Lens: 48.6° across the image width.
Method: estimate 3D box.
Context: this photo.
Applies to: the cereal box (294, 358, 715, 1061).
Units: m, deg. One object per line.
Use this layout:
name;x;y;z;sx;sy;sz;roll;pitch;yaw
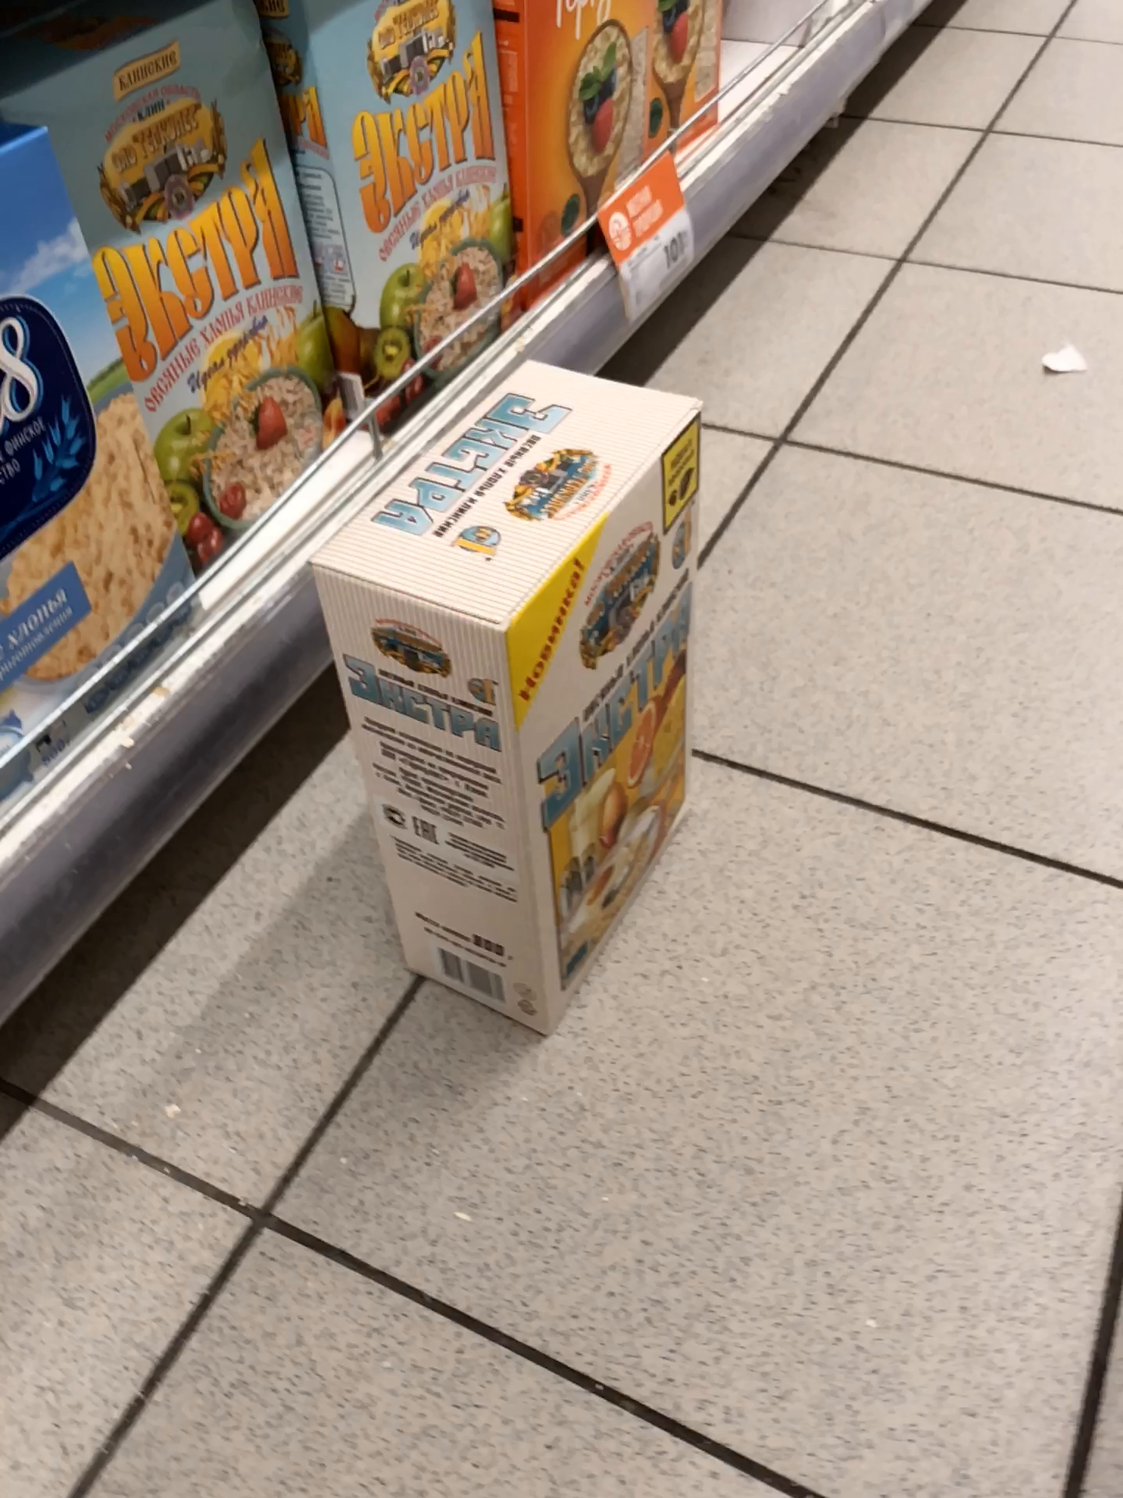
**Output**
cereal box;-0.008;-0.009;0.514;0.080;0.239;0.151;20;50;22
